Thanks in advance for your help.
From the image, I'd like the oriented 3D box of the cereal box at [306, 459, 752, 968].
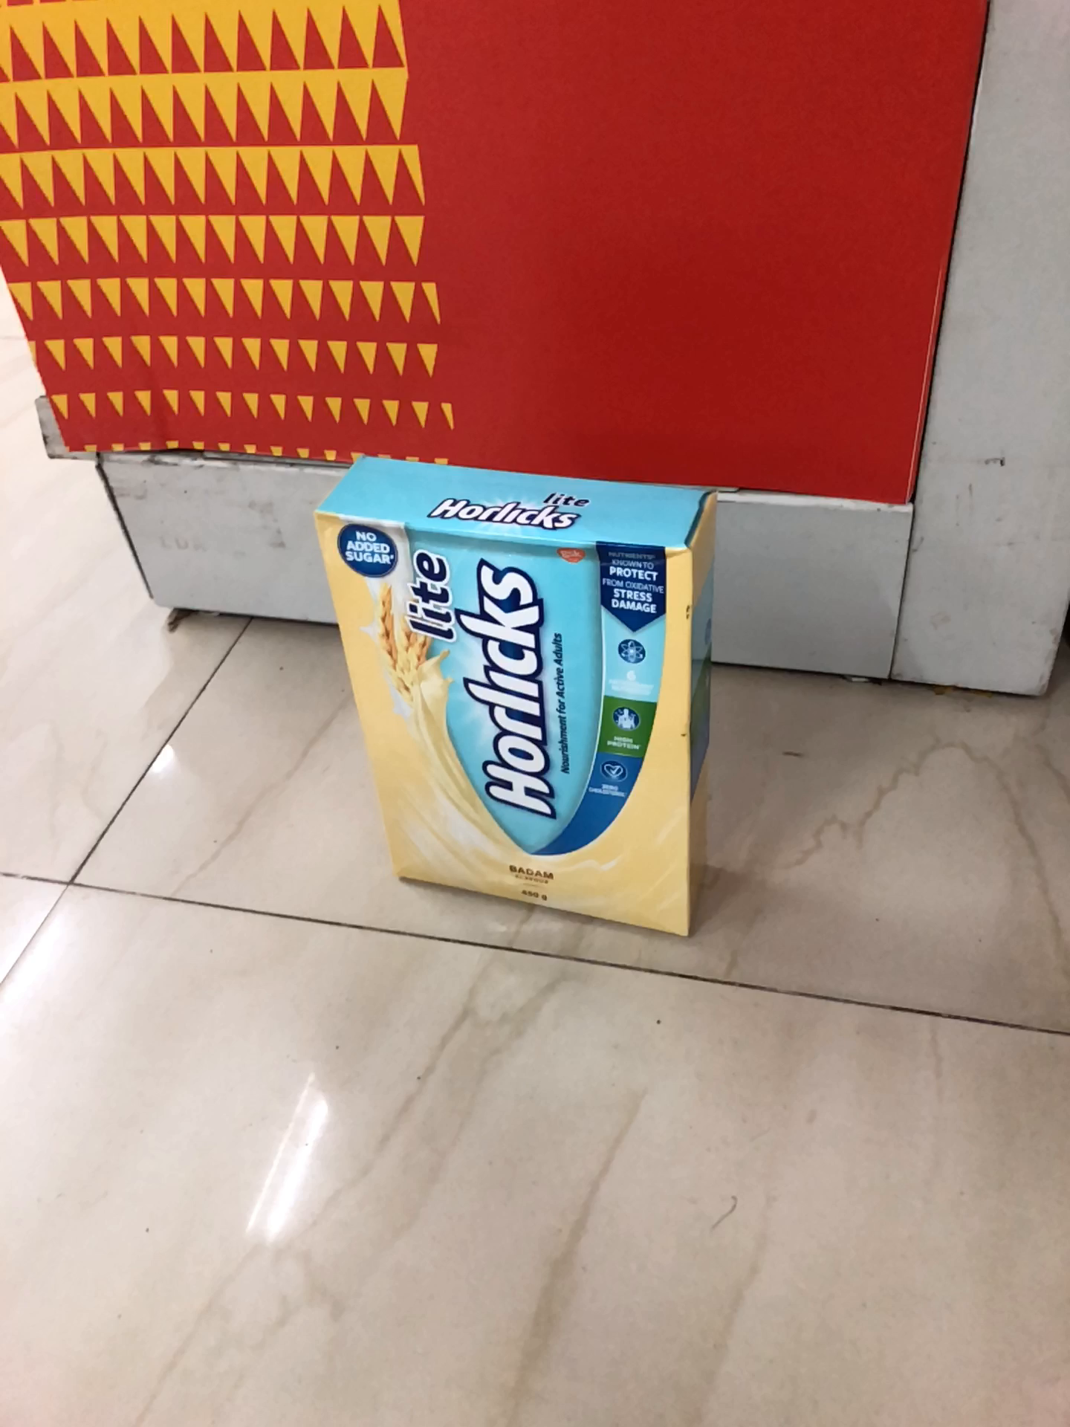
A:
[{"bbox_3d":[0.002,0.003,0.473,0.150,0.189,0.050,9,38,17],"label":"cereal box"}]
